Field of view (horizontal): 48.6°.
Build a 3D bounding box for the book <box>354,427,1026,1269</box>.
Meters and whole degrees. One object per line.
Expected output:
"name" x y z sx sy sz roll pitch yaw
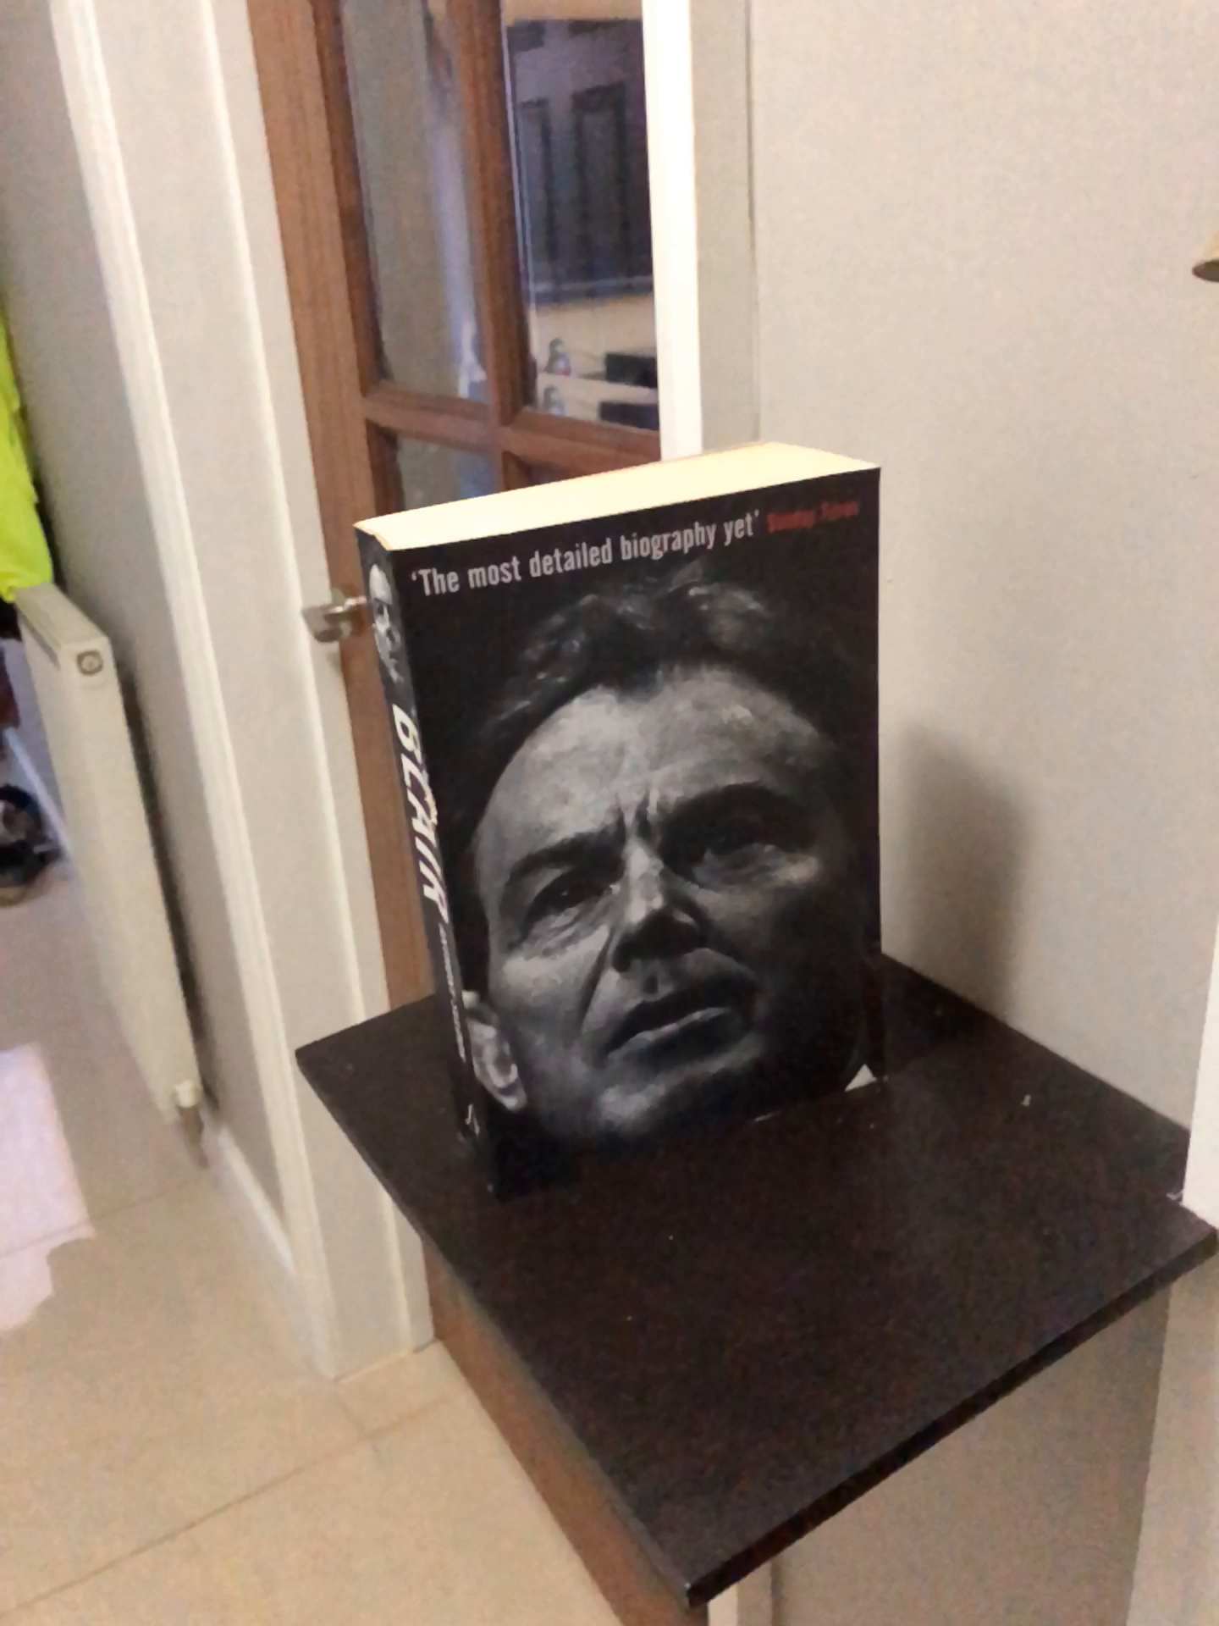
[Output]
"book" 0.029 0.006 0.400 0.170 0.209 0.060 -13 25 -20
